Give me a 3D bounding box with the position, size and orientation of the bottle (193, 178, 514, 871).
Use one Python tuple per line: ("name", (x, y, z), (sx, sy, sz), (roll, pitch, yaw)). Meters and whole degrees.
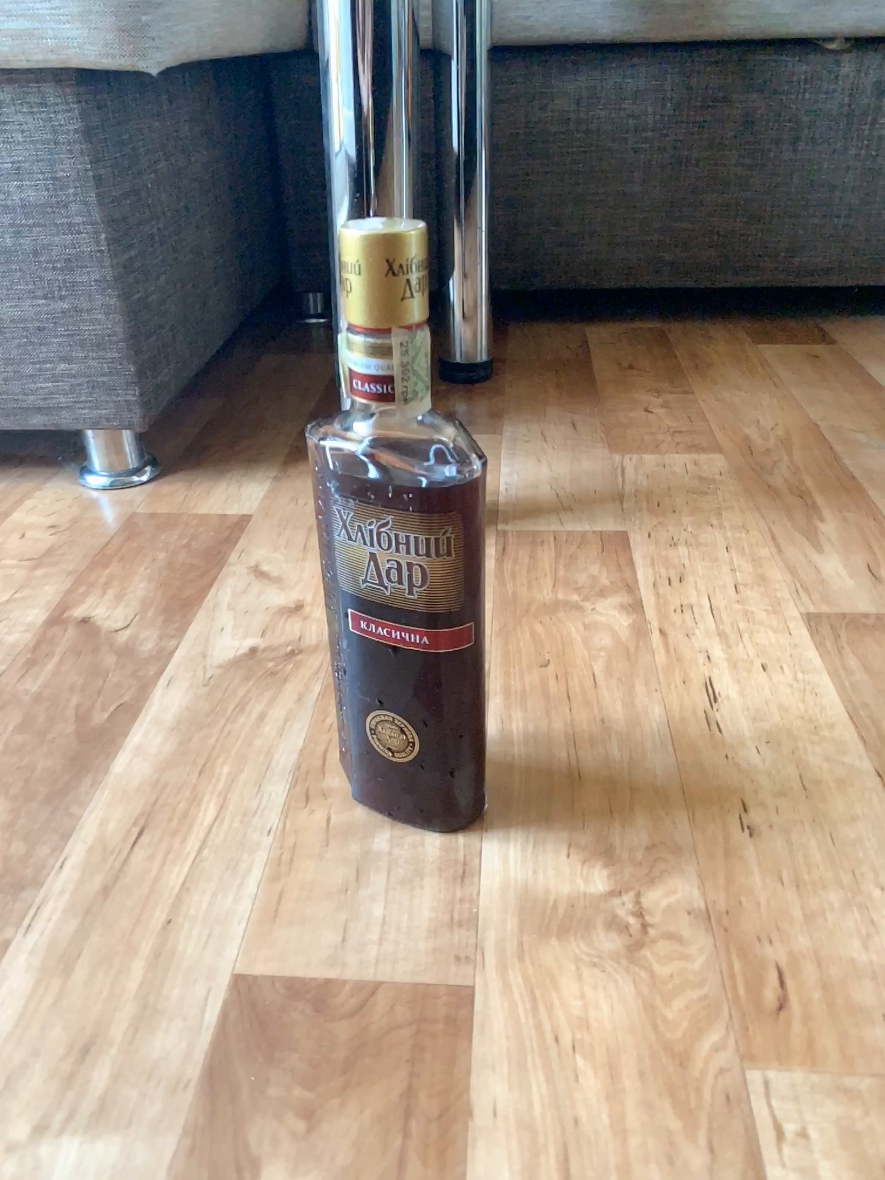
("bottle", (-0.026, -0.018, 0.337), (0.090, 0.239, 0.050), (24, 39, 36))
